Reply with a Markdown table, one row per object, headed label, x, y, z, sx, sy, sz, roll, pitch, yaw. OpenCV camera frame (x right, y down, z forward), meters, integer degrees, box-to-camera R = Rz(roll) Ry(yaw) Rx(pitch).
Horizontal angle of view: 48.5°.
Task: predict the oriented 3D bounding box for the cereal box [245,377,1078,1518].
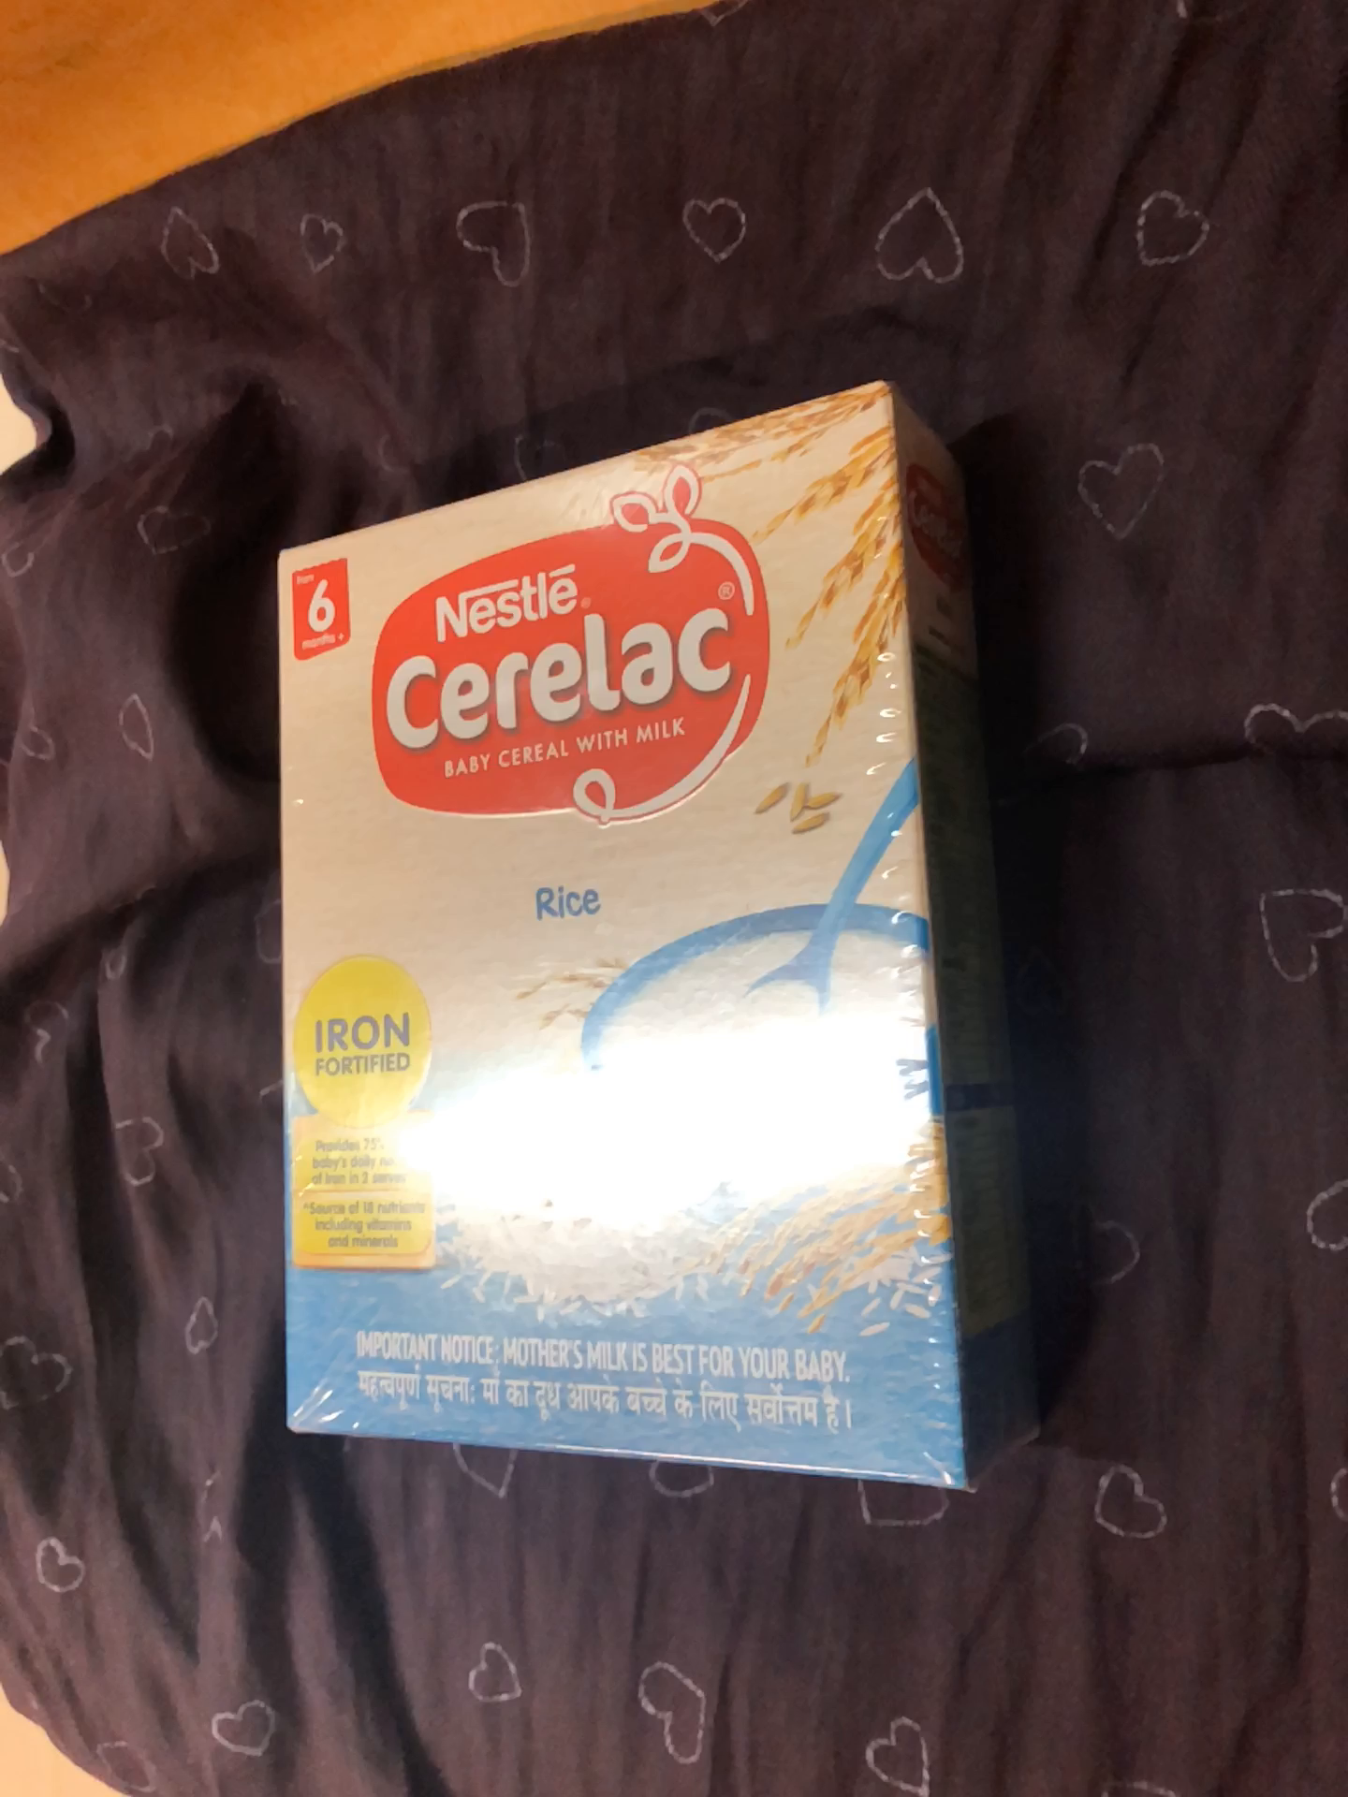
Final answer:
| label | x | y | z | sx | sy | sz | roll | pitch | yaw |
| --- | --- | --- | --- | --- | --- | --- | --- | --- | --- |
| cereal box | -0.008 | 0.015 | 0.329 | 0.160 | 0.070 | 0.200 | -7 | 82 | 28 |
